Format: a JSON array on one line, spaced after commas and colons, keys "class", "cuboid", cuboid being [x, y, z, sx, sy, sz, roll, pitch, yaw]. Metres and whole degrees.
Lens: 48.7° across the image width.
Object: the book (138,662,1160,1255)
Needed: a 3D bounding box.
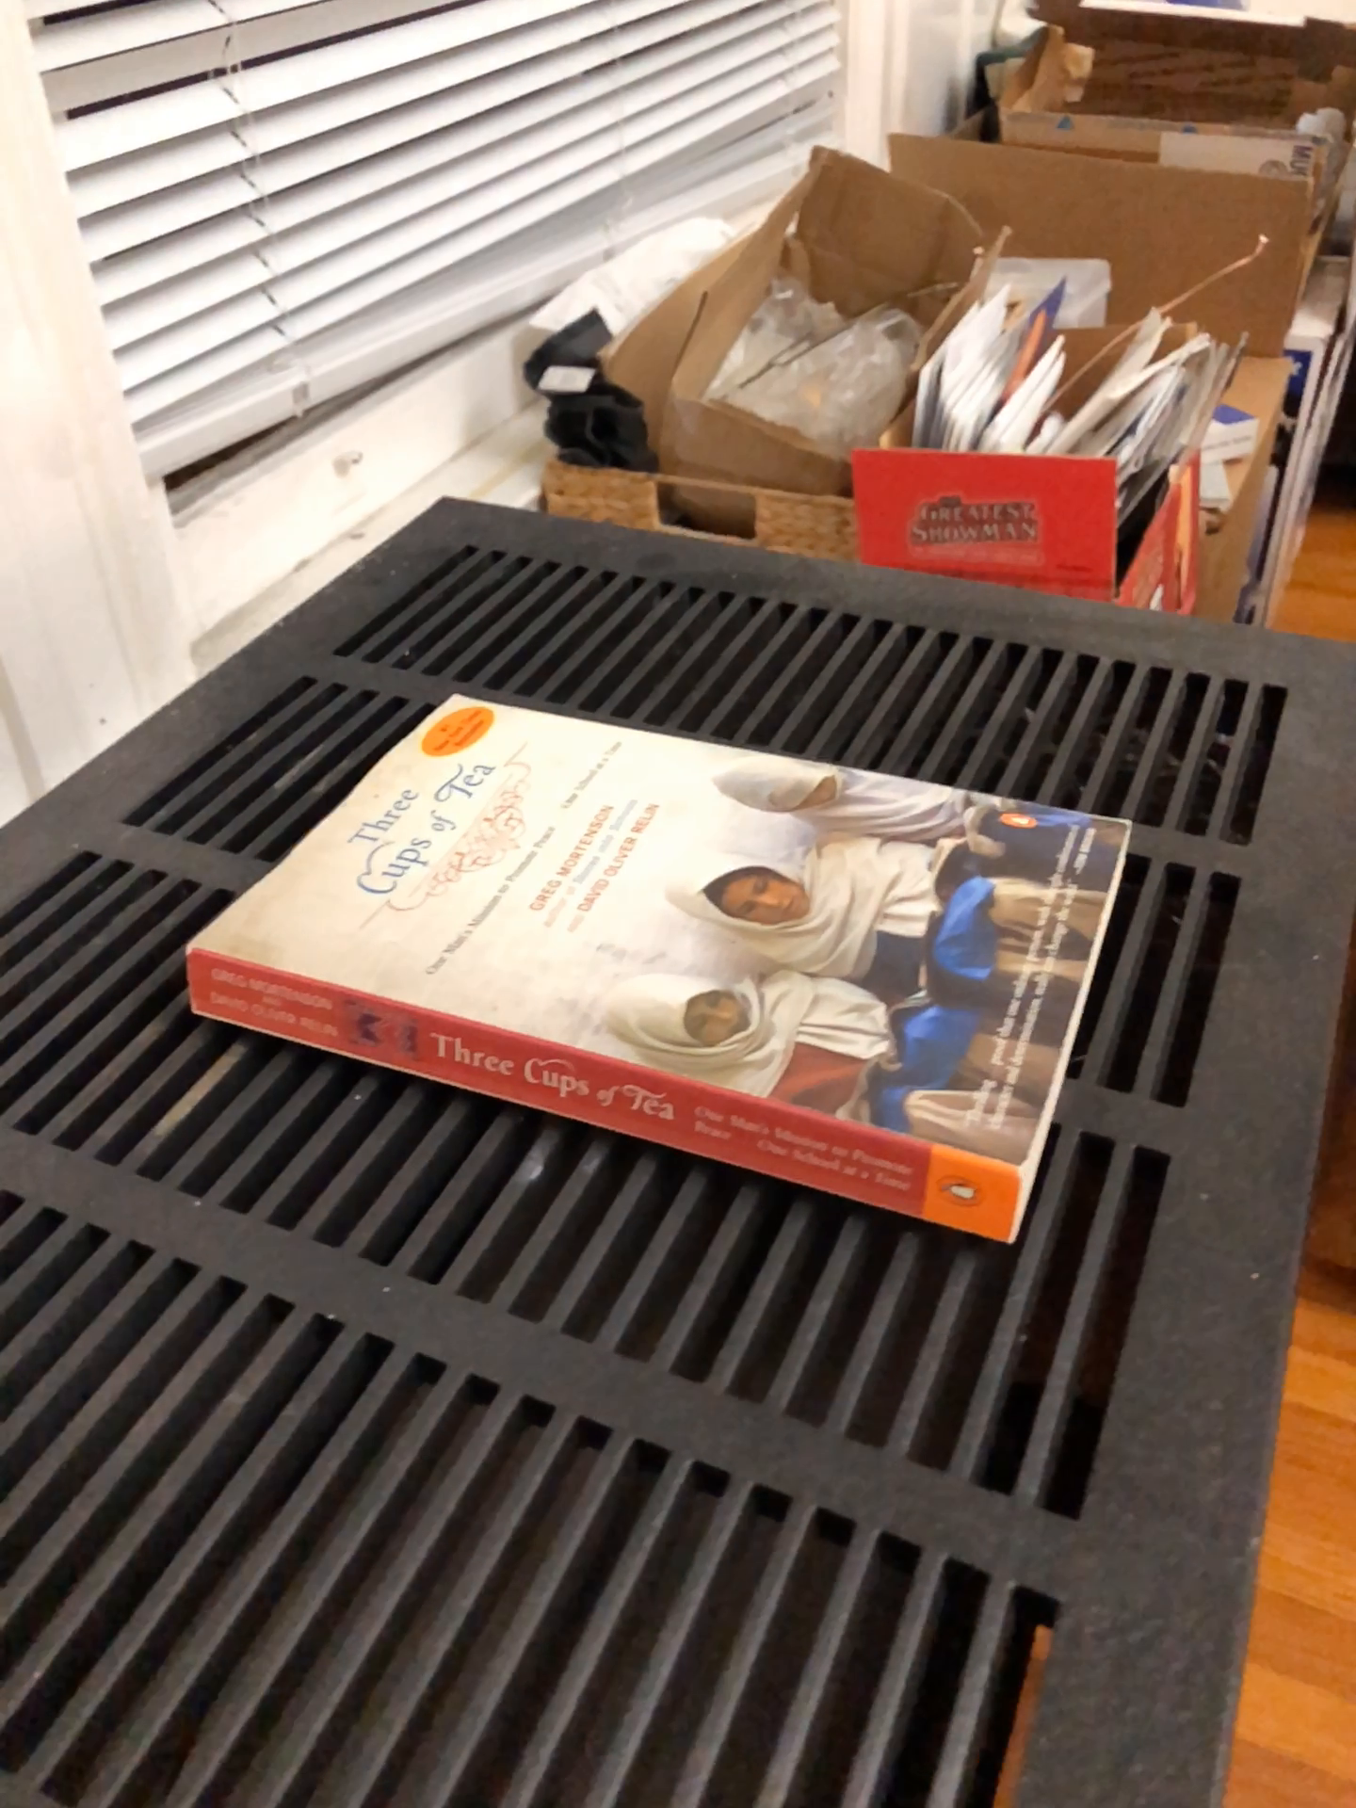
[{"class": "book", "cuboid": [0.000, -0.001, 0.384, 0.220, 0.030, 0.141, 11, 40, 18]}]
